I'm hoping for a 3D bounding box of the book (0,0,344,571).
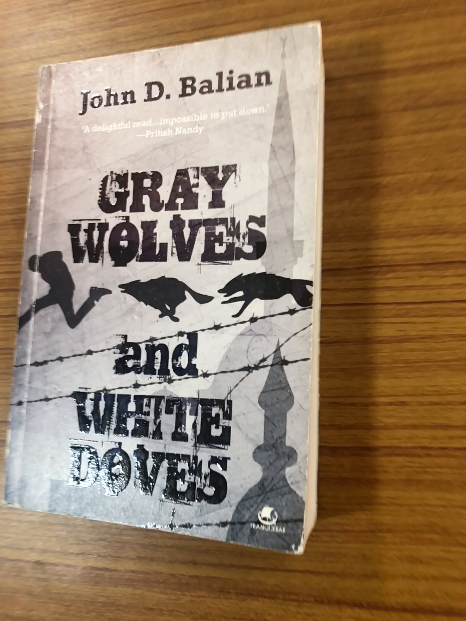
[{"bbox_3d":[-0.025,-0.020,0.213,0.130,0.030,0.210,1,84,19],"label":"book"}]
